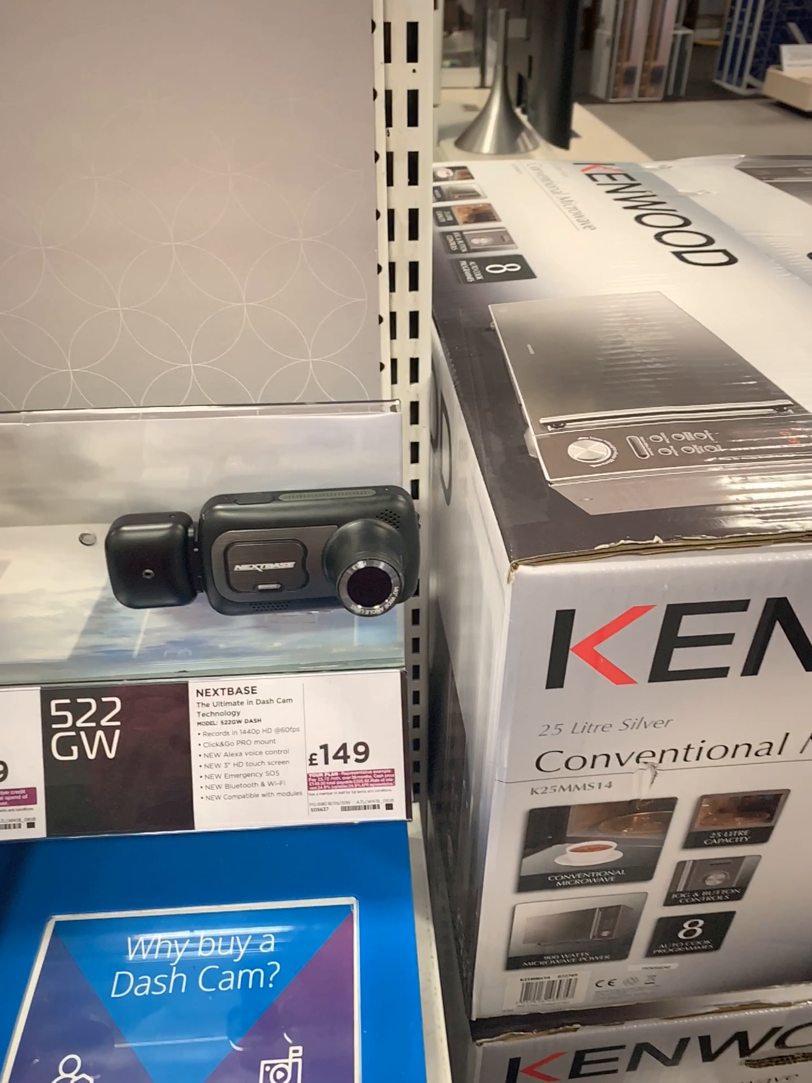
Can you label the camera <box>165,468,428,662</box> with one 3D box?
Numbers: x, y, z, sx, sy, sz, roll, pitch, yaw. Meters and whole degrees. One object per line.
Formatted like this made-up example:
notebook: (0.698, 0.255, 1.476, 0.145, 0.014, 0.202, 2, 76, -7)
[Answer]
camera: (-0.044, 0.008, 0.358, 0.100, 0.050, 0.061, -5, 31, -5)
